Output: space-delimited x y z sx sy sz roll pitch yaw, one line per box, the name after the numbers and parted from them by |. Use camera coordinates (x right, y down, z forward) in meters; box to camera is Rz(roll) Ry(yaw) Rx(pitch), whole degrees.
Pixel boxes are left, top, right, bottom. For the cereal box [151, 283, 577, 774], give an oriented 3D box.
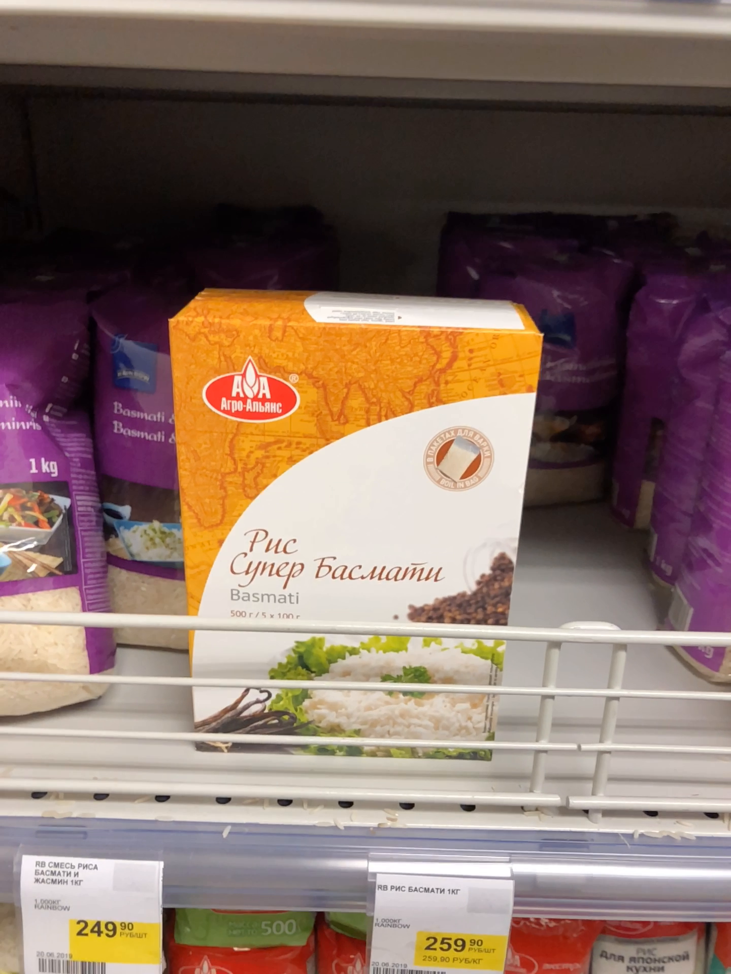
-0.001 0.019 0.330 0.140 0.189 0.060 1 23 1 | cereal box
